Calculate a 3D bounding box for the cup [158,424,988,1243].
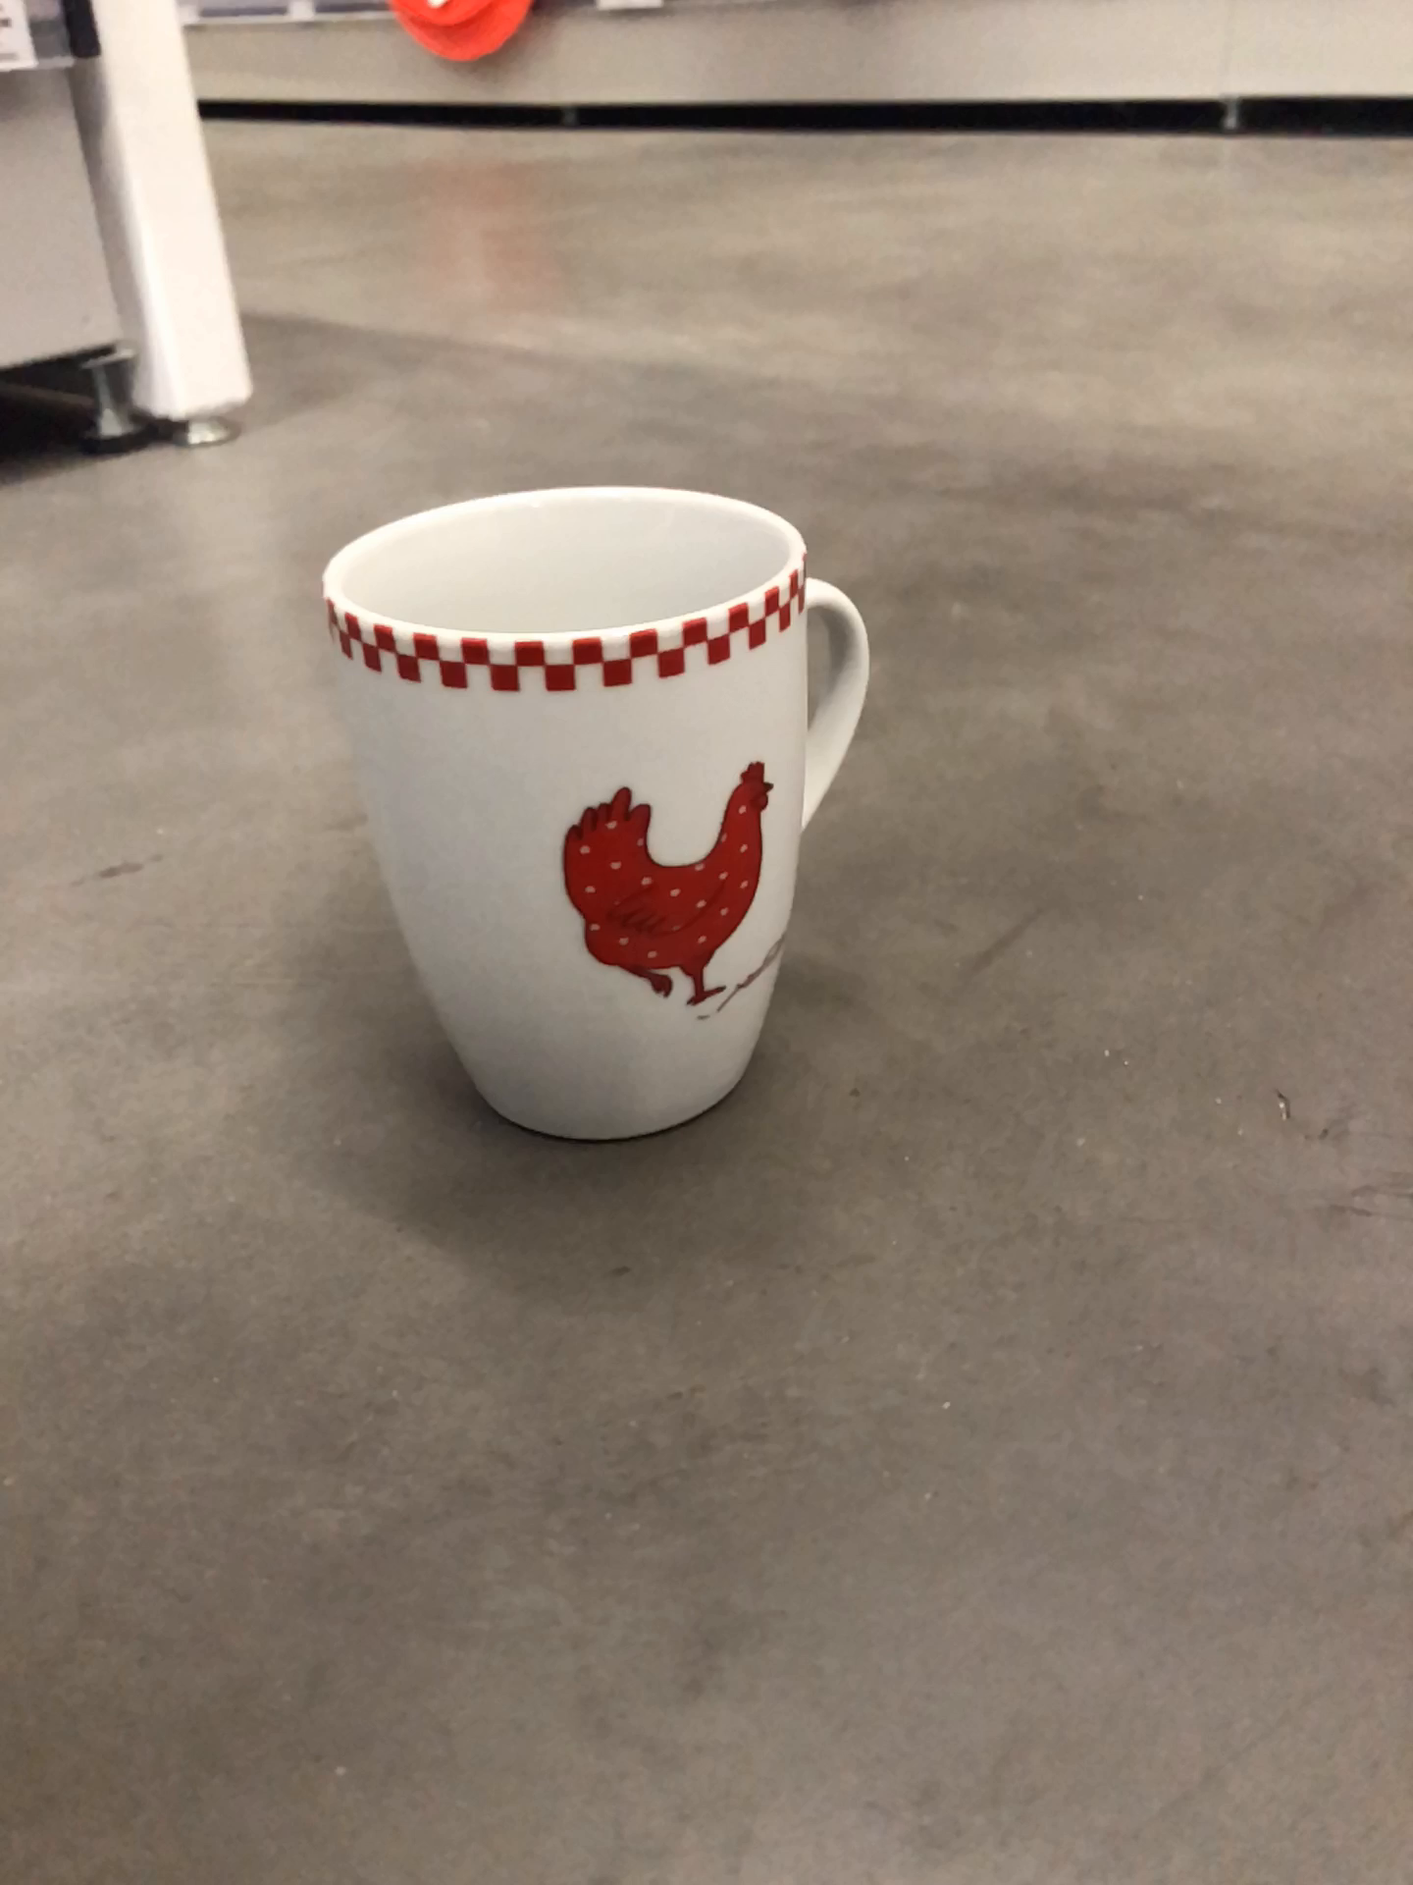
[{"bbox_3d":[-0.020,-0.028,0.277,0.103,0.092,0.088,-25,37,-32],"label":"cup"}]
